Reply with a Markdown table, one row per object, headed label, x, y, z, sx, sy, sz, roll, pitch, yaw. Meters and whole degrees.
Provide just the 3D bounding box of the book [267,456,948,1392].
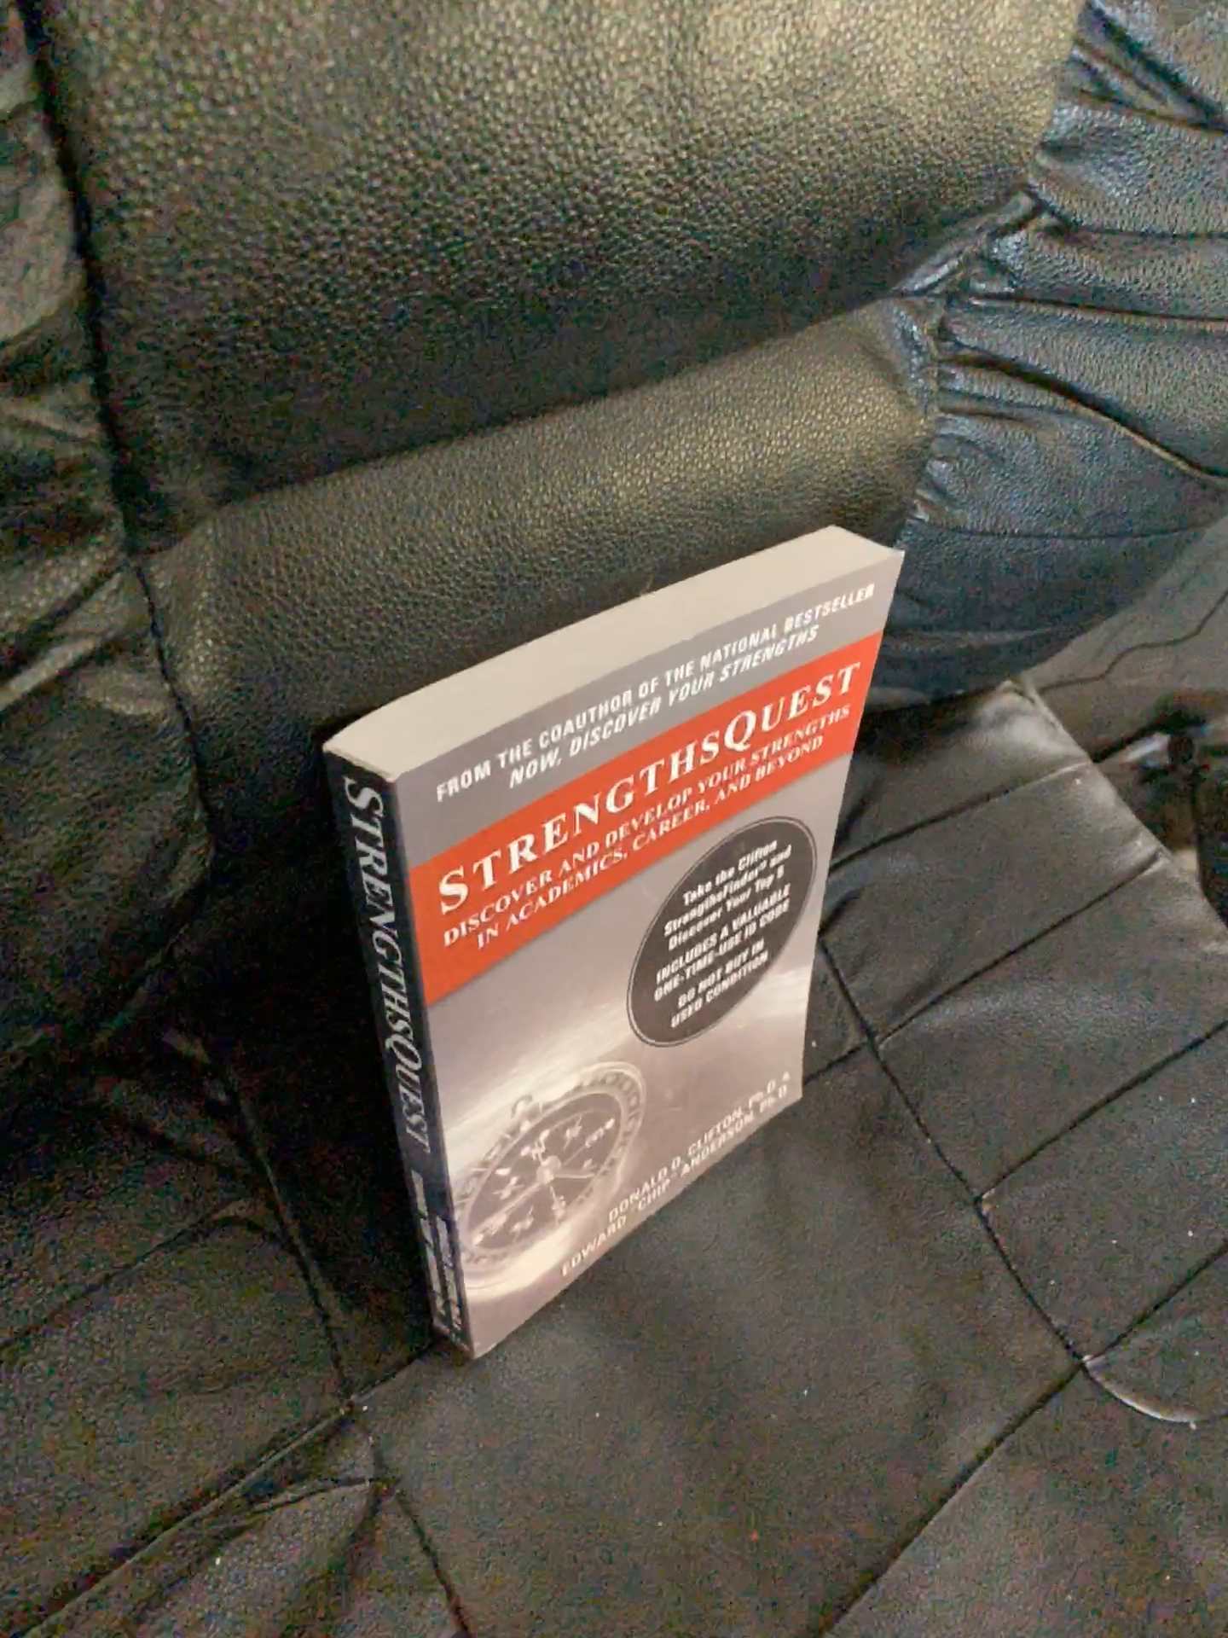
| label | x | y | z | sx | sy | sz | roll | pitch | yaw |
| --- | --- | --- | --- | --- | --- | --- | --- | --- | --- |
| book | 0.007 | 0.041 | 0.356 | 0.170 | 0.240 | 0.030 | -30 | 50 | -29 |
